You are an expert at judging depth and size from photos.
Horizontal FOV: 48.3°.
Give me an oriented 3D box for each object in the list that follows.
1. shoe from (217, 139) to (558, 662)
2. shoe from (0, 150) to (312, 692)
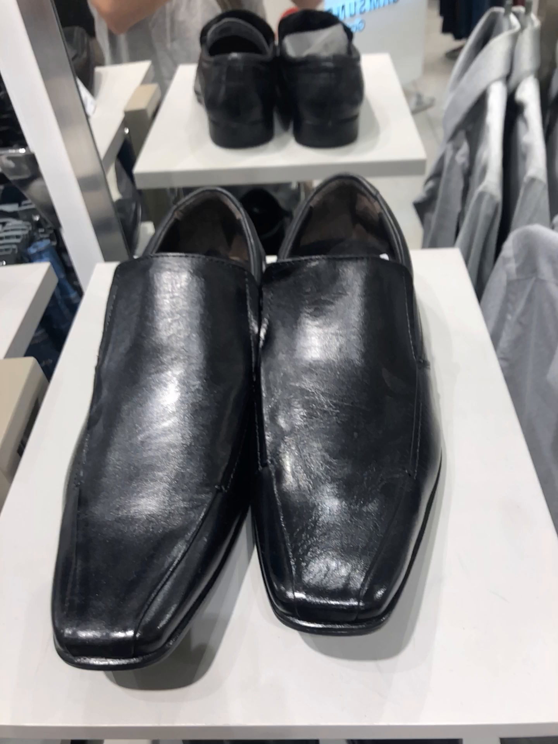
[{"bbox_3d":[0.048,-0.012,0.331,0.110,0.099,0.282,-1,44,6],"label":"shoe"},{"bbox_3d":[-0.043,-0.005,0.341,0.110,0.099,0.302,-1,44,6],"label":"shoe"}]
